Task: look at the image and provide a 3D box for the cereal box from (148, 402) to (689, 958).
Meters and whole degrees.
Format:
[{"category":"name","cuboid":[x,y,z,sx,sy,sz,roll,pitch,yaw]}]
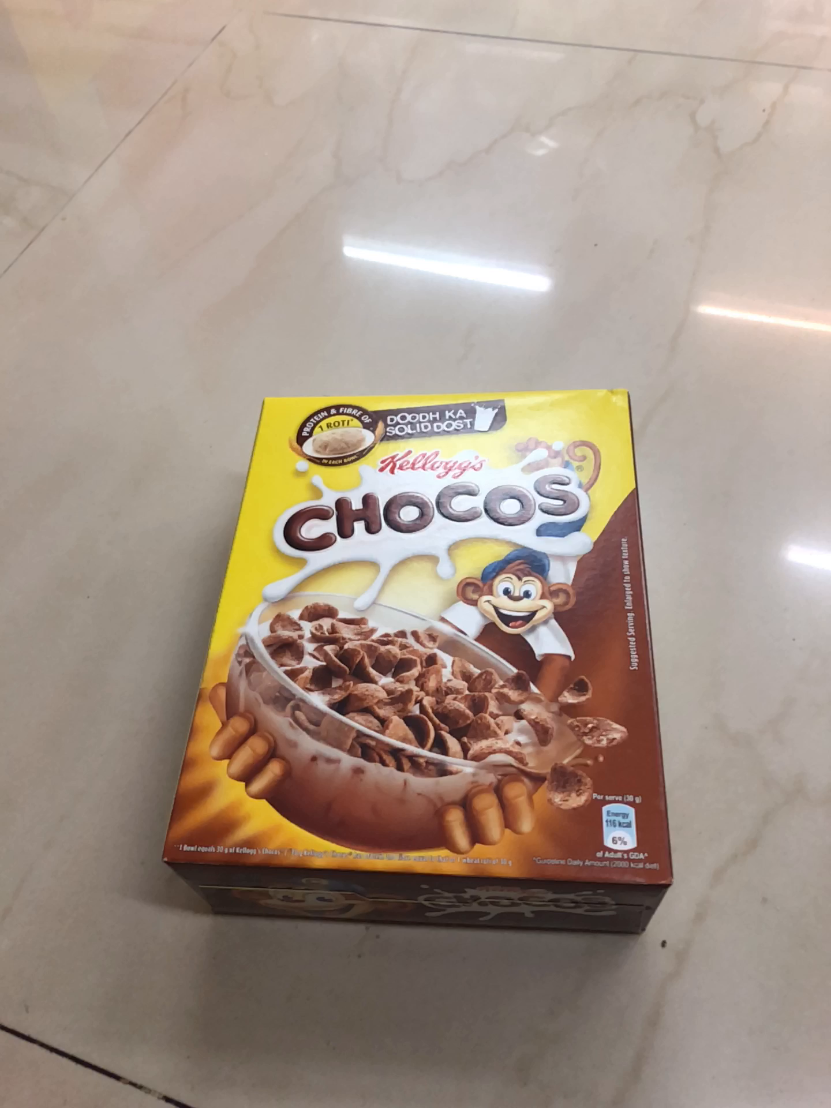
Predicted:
[{"category":"cereal box","cuboid":[0.007,0.032,0.303,0.140,0.050,0.171,1,58,6]}]
